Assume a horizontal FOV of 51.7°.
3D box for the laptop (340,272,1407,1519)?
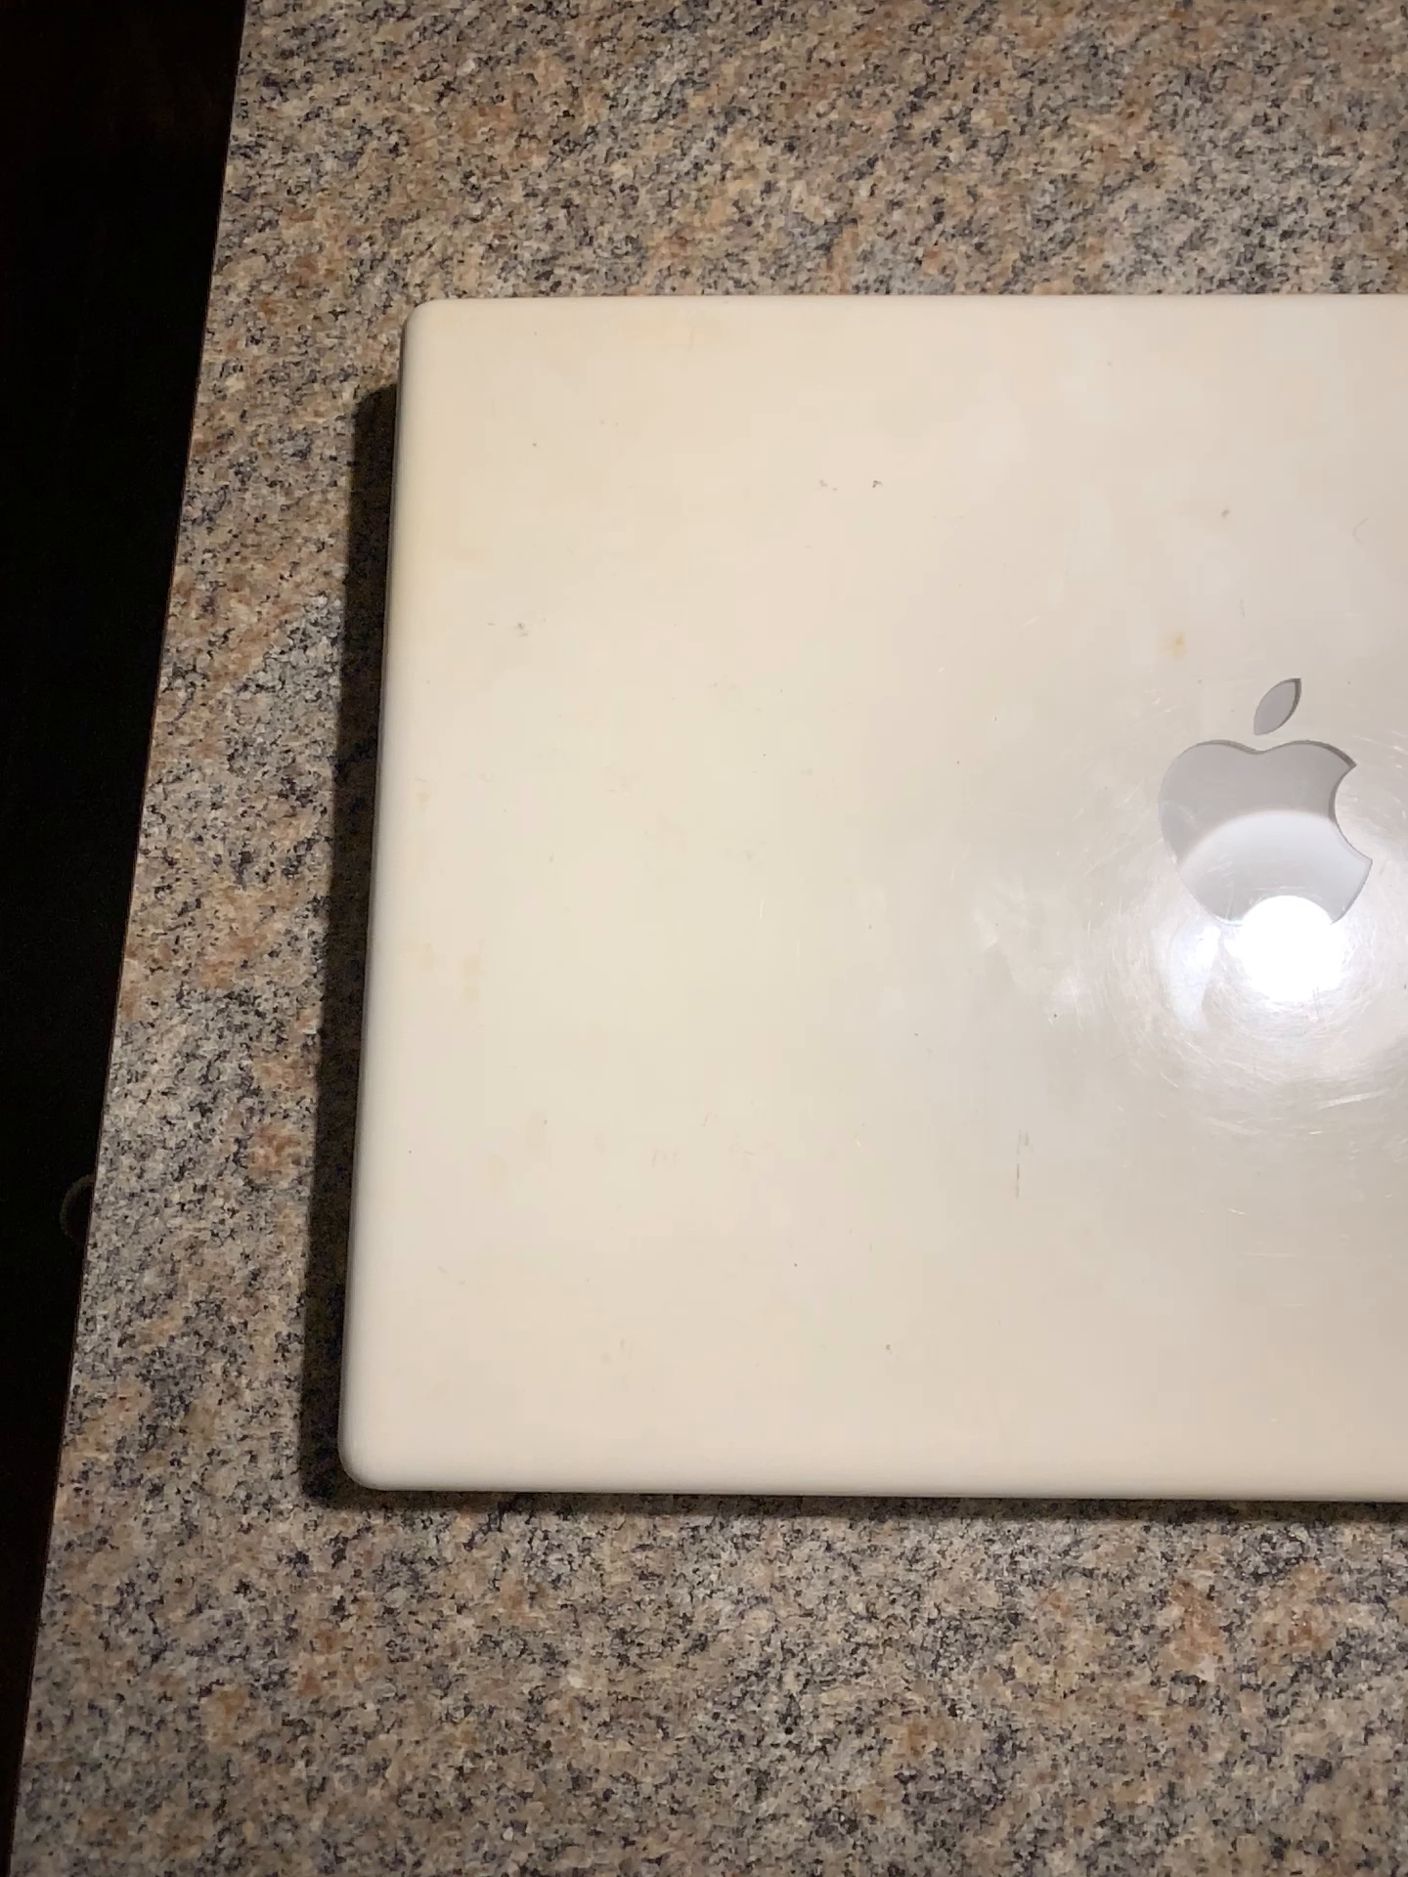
[{"bbox_3d":[0.095,-0.017,0.244,0.305,0.002,0.205,0,77,5],"label":"laptop"}]
